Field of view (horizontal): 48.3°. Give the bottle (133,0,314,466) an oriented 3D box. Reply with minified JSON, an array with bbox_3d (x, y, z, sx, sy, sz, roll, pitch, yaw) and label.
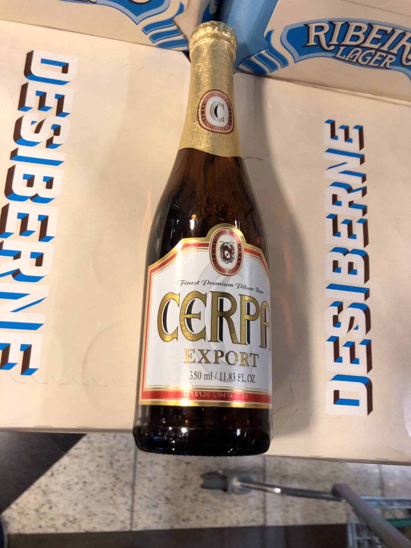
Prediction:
[{"bbox_3d":[0.005,-0.035,0.238,0.070,0.060,0.240,4,75,-11],"label":"bottle"}]
